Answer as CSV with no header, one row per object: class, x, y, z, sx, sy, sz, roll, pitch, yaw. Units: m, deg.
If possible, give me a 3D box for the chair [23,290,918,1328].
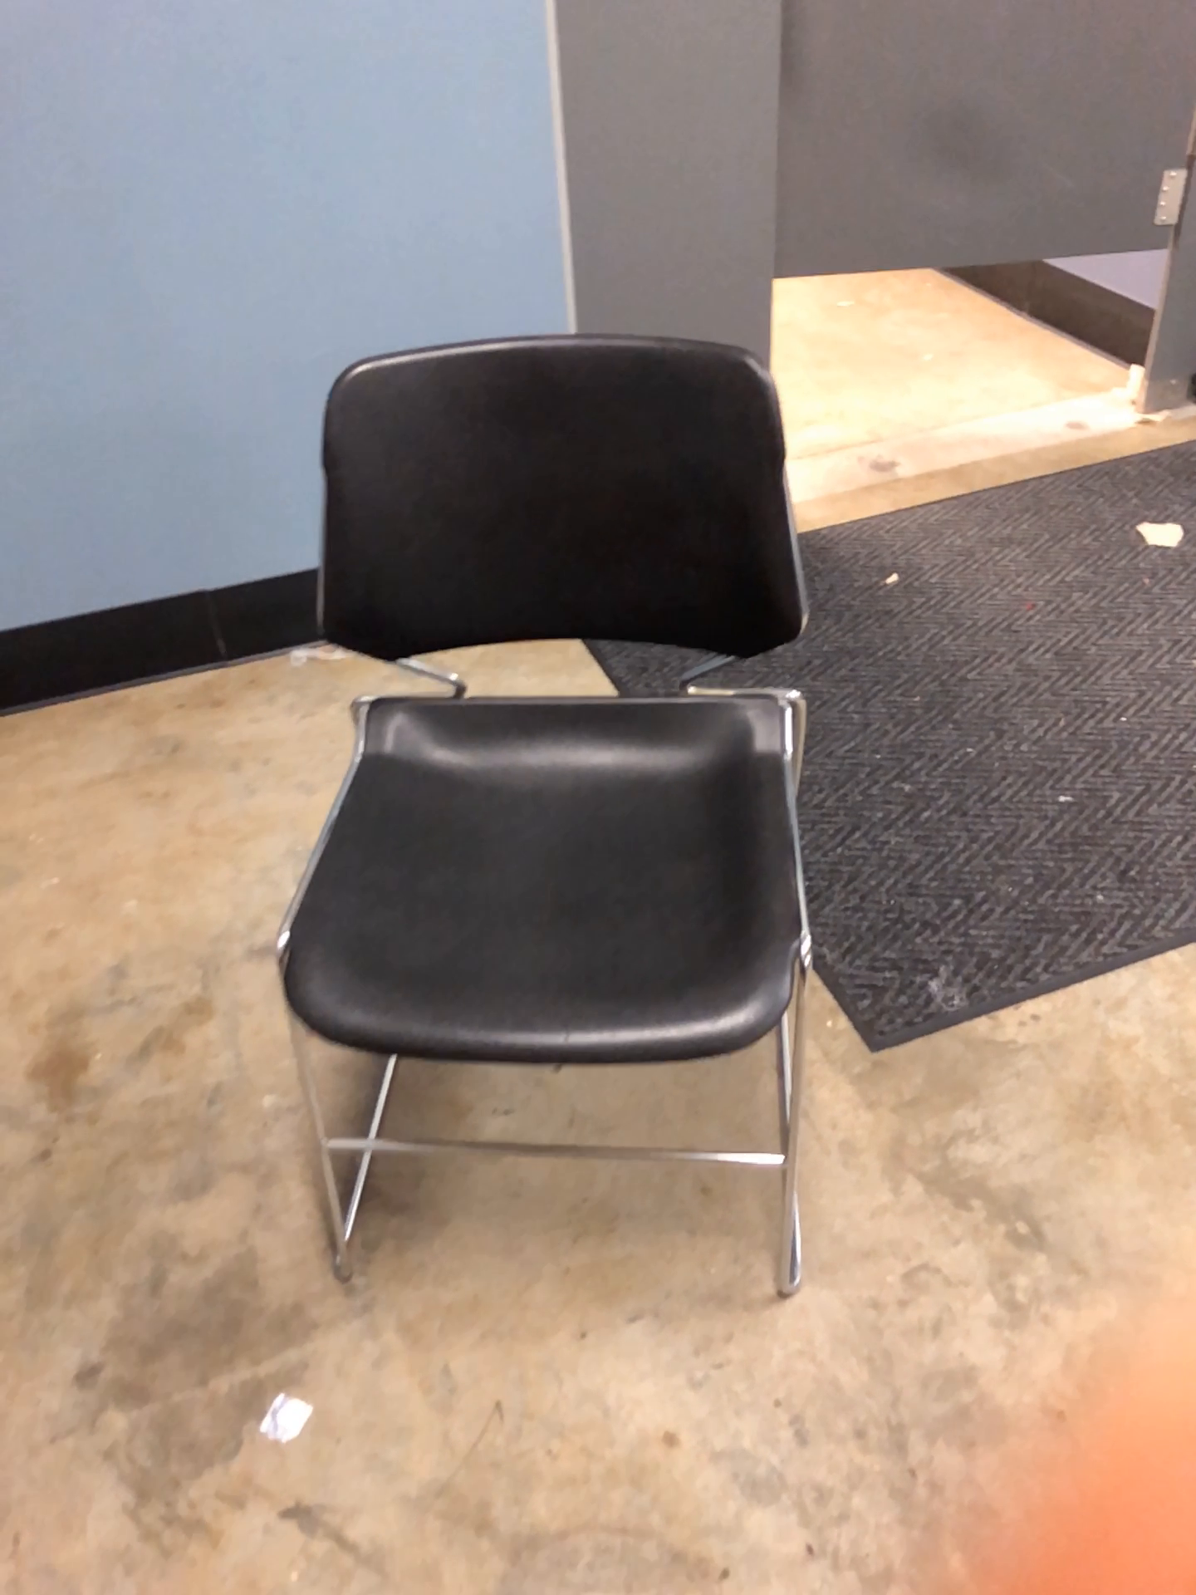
chair,-0.043,0.022,1.208,0.524,0.766,0.552,0,39,5
